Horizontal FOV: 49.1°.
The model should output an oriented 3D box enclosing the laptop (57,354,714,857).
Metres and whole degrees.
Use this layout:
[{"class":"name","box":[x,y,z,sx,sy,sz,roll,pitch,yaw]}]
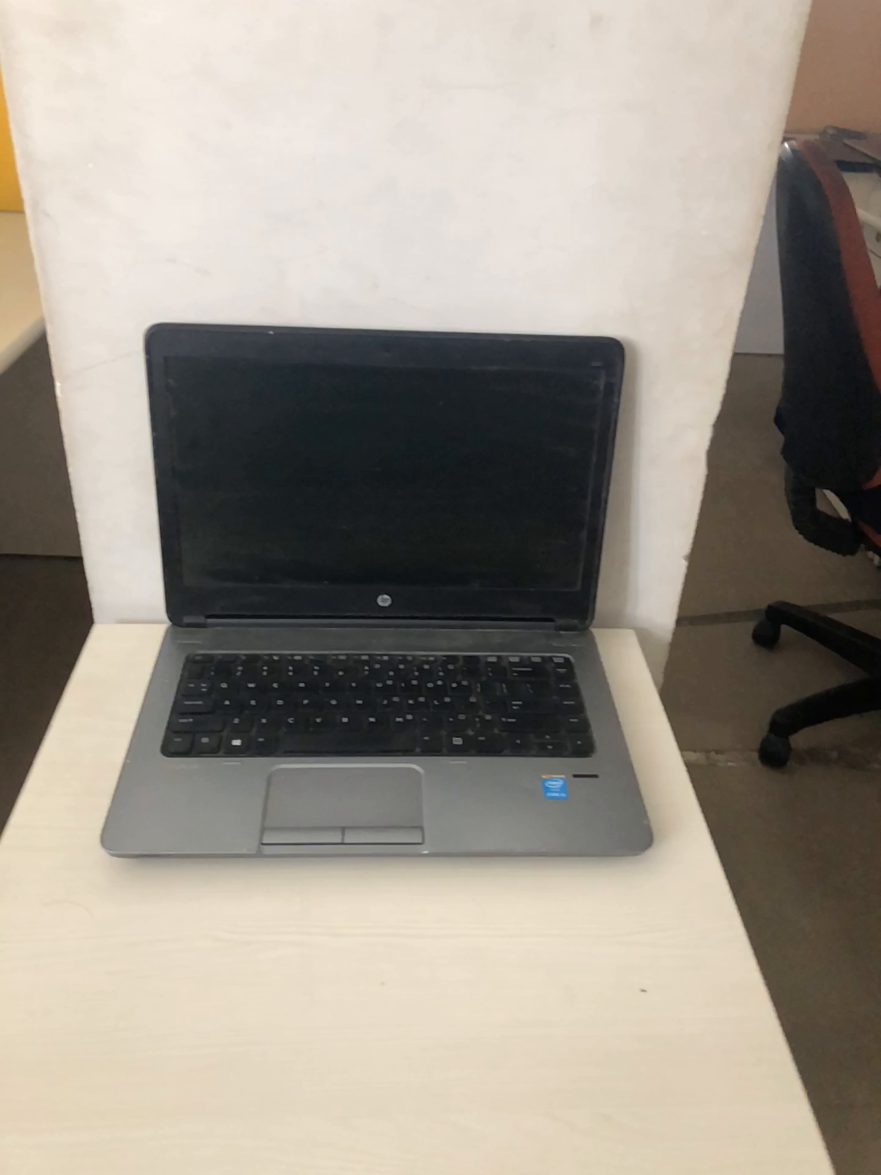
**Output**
[{"class":"laptop","box":[-0.028,0.003,0.603,0.304,0.209,0.238,1,33,-4]}]
